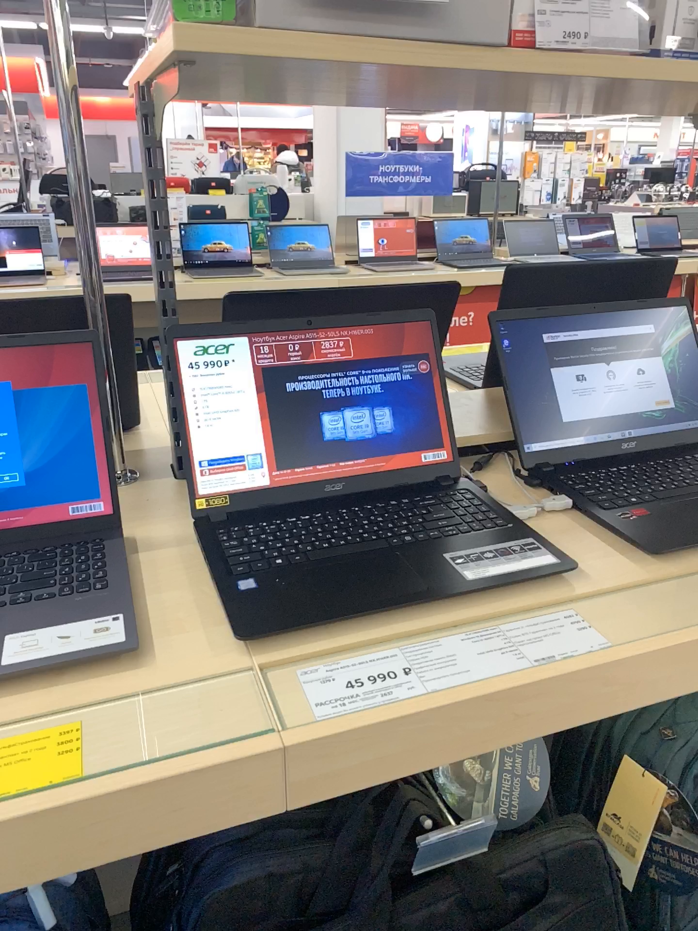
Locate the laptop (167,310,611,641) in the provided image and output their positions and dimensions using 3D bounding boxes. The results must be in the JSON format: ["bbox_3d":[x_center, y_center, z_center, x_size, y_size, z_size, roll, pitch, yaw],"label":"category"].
[{"bbox_3d":[0.013,-0.030,0.818,0.368,0.208,0.366,-8,24,-19],"label":"laptop"}]
